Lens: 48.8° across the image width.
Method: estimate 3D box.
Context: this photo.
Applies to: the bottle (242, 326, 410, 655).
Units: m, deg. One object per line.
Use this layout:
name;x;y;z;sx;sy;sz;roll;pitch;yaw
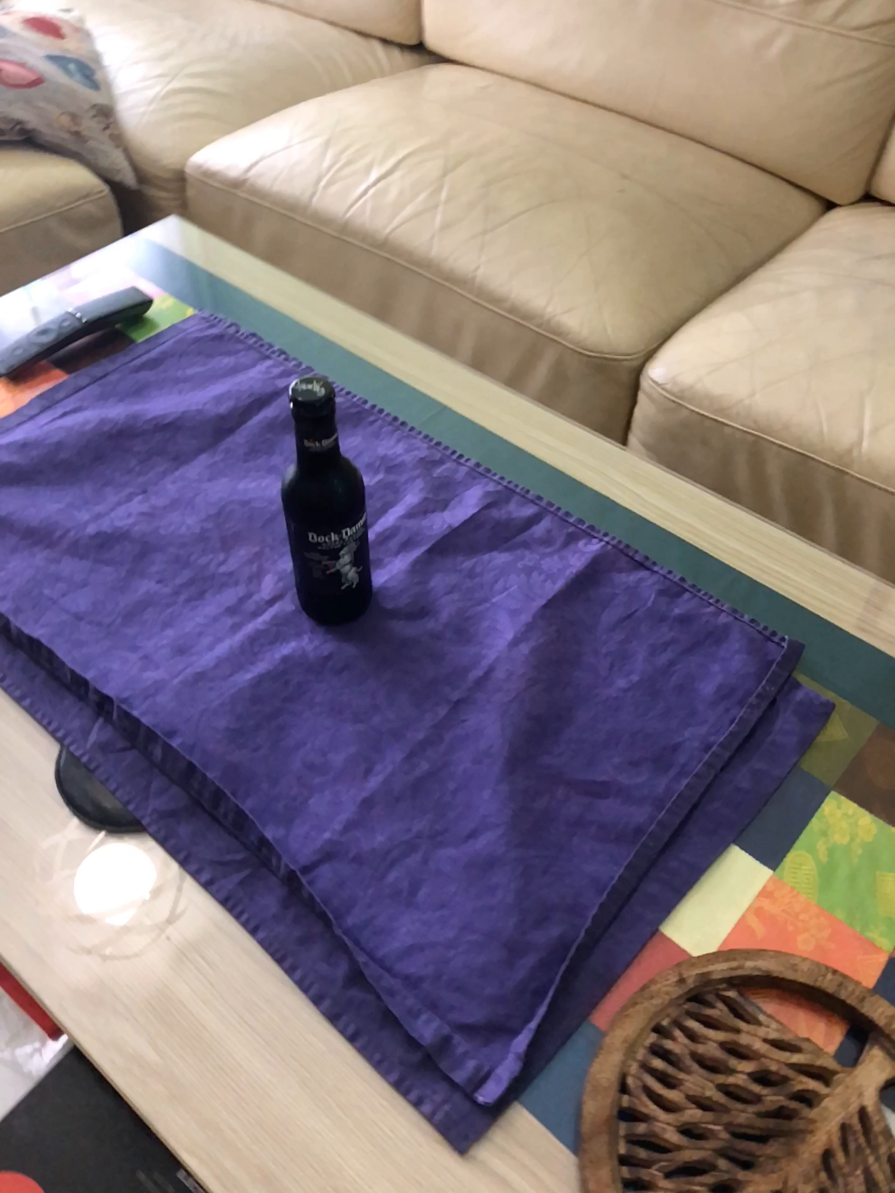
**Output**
bottle;-0.073;-0.061;0.634;0.070;0.199;0.070;1;49;-1
